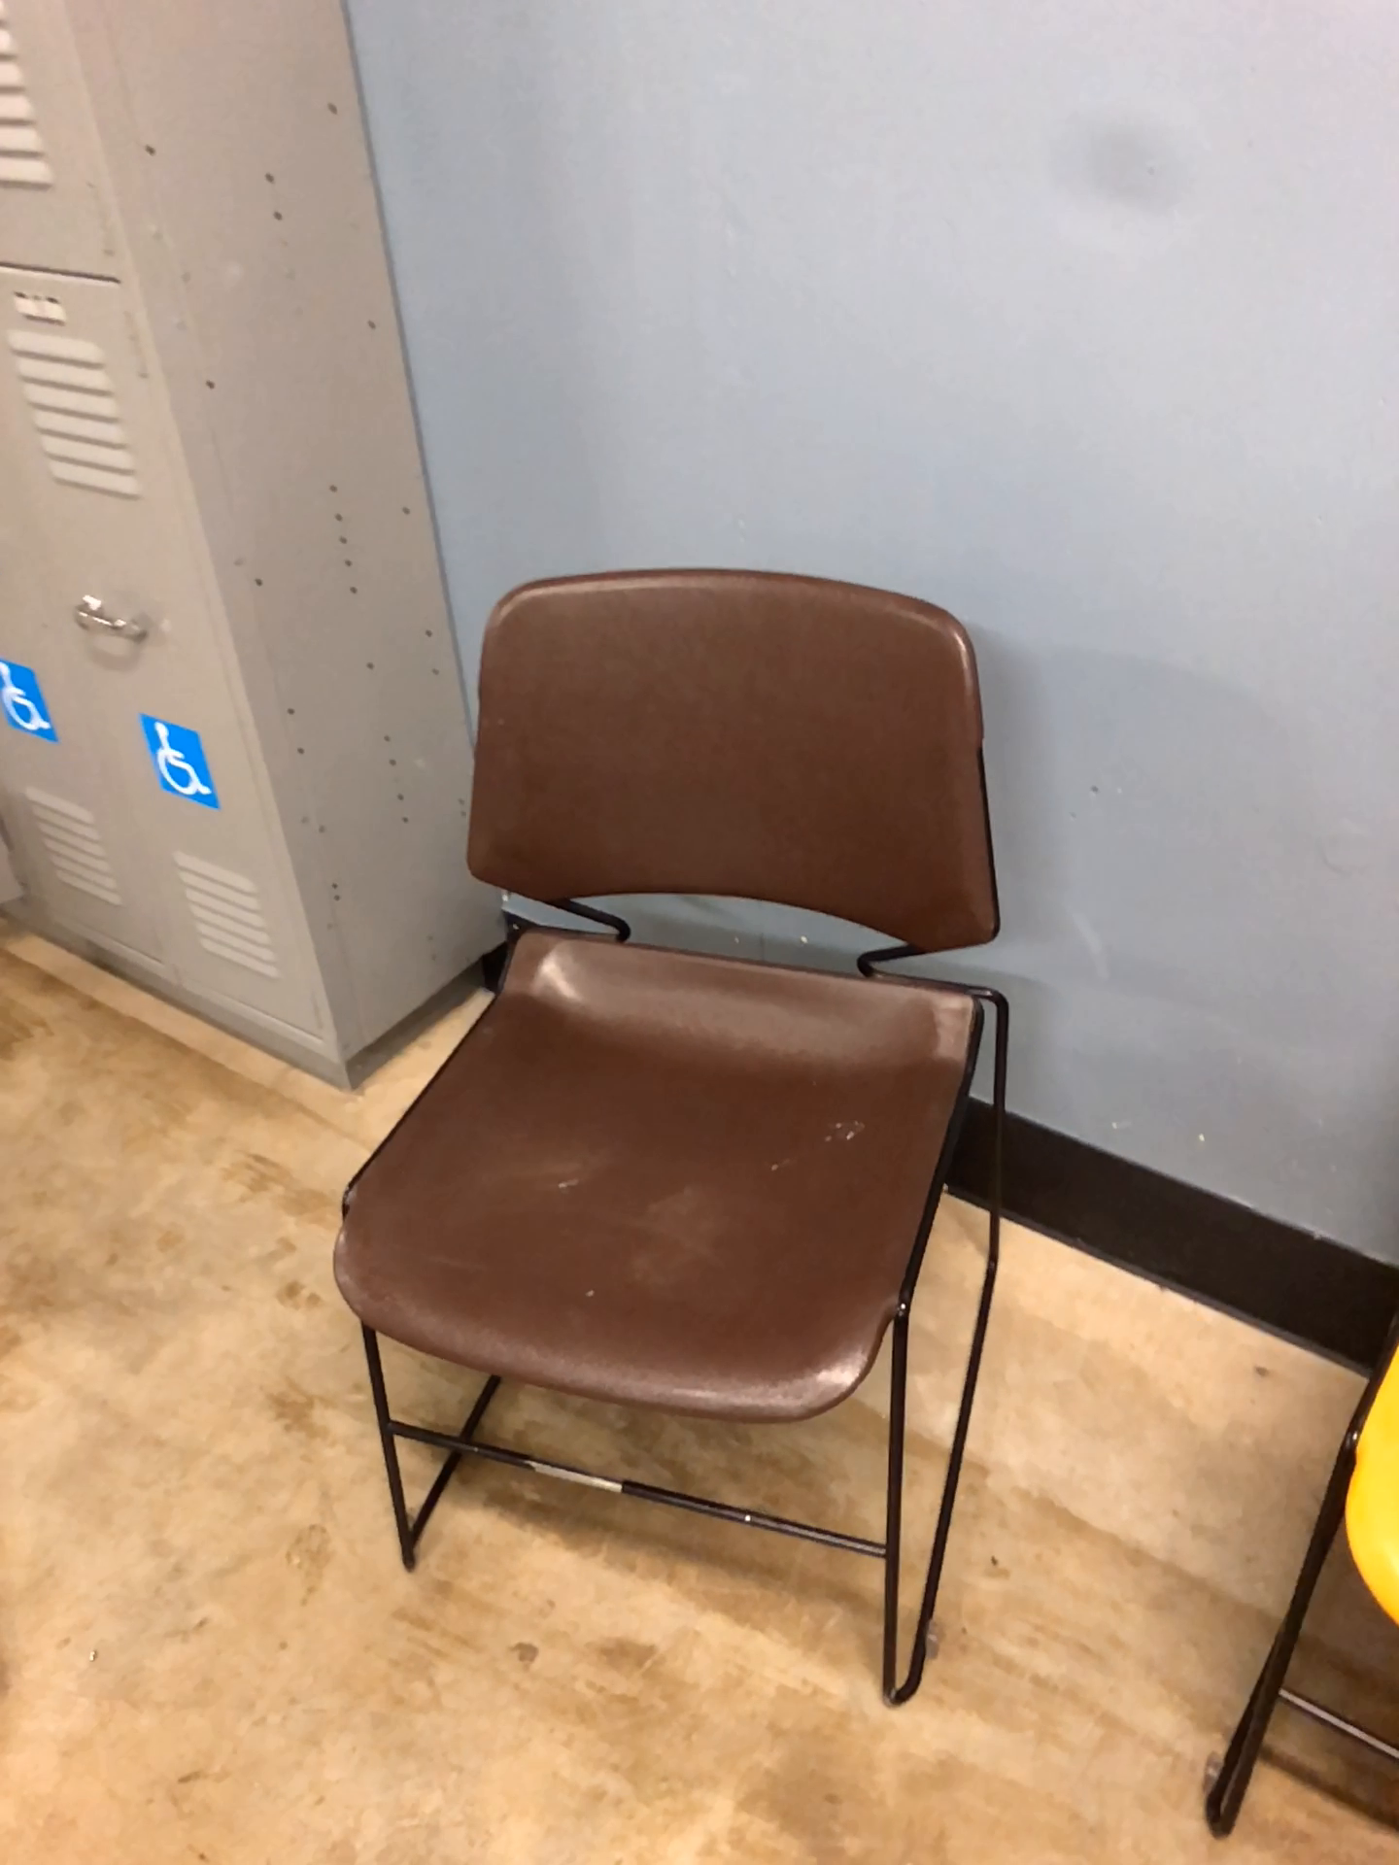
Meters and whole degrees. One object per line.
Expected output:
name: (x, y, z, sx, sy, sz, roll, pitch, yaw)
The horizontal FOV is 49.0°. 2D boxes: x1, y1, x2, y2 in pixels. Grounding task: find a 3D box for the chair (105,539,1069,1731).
chair: (-0.011, 0.146, 1.293, 0.516, 0.750, 0.548, 7, 37, 16)
